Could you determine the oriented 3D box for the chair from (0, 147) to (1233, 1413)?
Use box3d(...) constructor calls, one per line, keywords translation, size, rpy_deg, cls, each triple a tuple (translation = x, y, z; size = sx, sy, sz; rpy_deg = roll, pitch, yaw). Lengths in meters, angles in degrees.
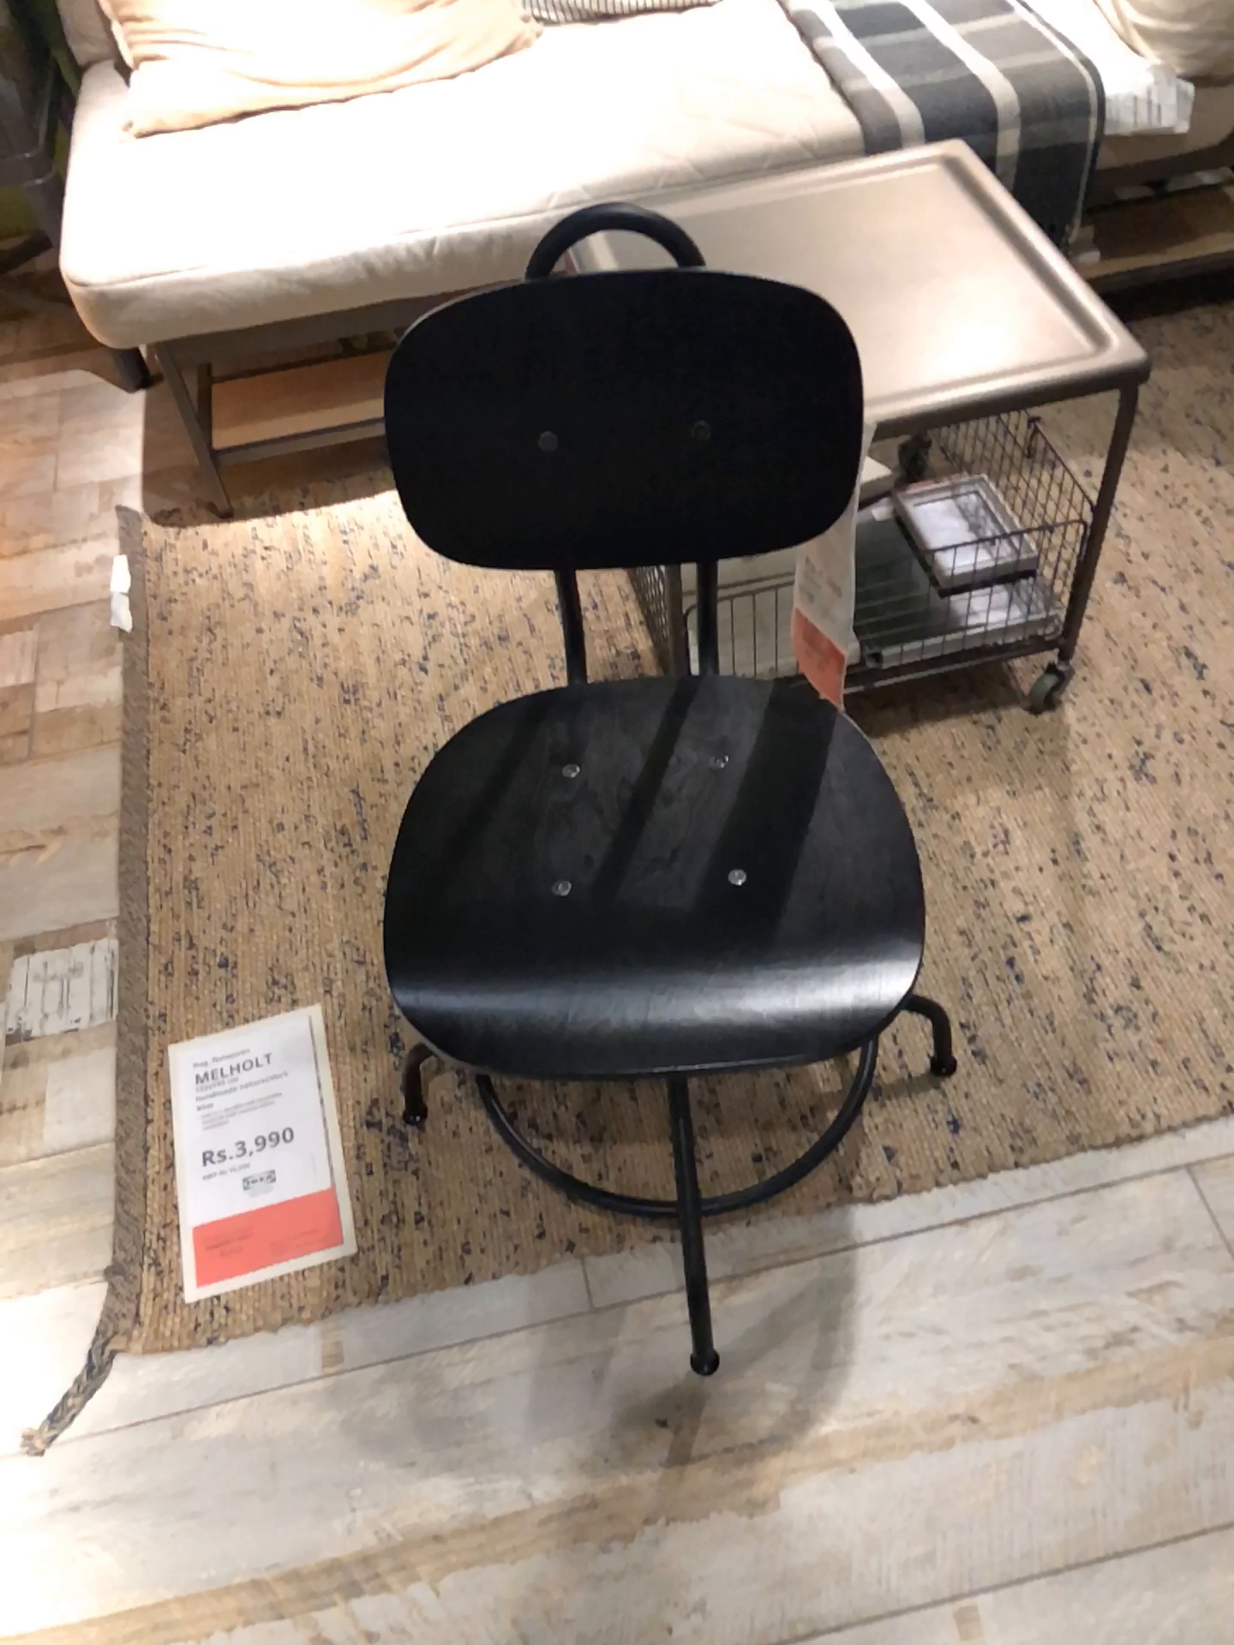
box3d(translation=(0.024, 0.028, 1.054), size=(0.590, 0.765, 0.583), rpy_deg=(-5, 51, 3), cls="chair")
